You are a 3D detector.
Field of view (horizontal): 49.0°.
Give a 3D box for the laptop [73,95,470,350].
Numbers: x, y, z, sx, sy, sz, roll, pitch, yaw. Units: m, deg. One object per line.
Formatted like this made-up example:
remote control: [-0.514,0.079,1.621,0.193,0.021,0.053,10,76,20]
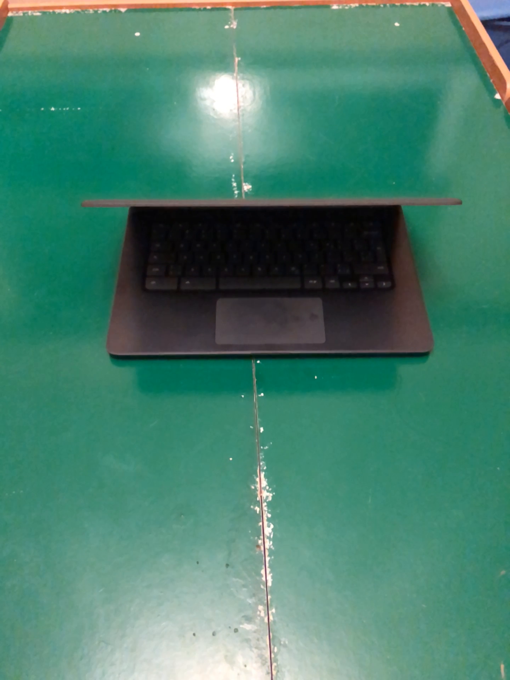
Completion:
laptop: [0.012,-0.119,0.564,0.316,0.144,0.209,-1,55,-1]
